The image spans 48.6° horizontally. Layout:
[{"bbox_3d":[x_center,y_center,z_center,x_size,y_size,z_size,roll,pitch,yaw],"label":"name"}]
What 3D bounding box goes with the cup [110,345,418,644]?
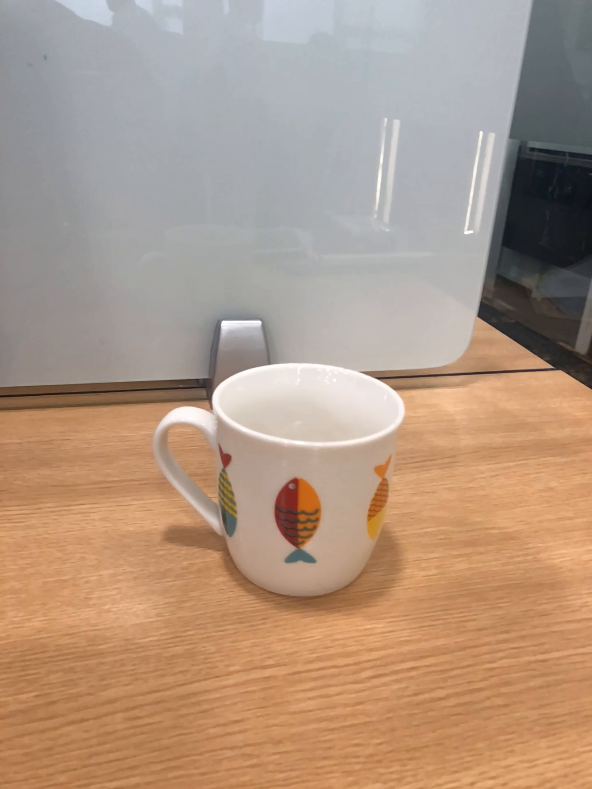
[{"bbox_3d":[-0.011,0.039,0.287,0.110,0.090,0.080,5,24,3],"label":"cup"}]
